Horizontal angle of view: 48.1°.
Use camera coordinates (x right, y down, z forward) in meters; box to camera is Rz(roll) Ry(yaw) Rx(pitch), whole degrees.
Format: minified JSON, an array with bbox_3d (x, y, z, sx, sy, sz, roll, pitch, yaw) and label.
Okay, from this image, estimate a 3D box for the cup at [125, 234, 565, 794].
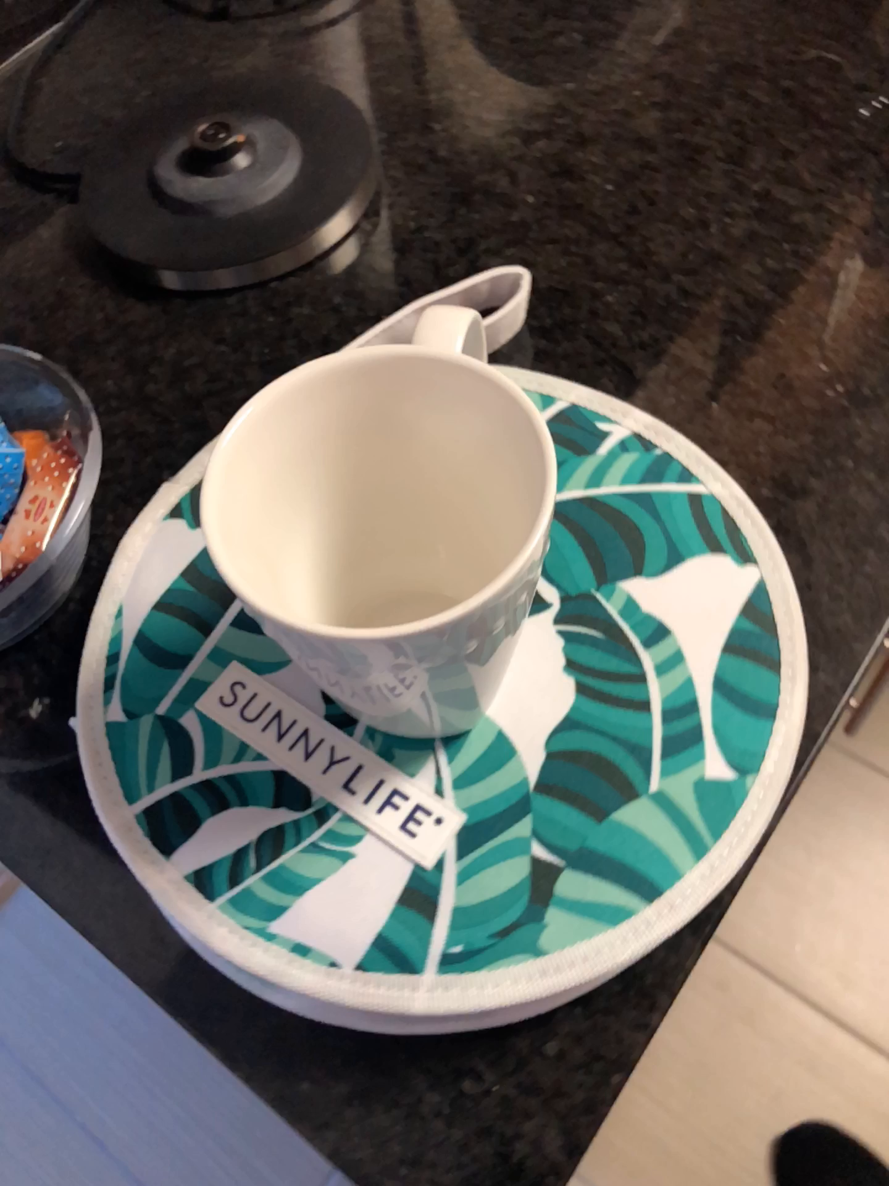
[{"bbox_3d":[-0.015,-0.023,0.288,0.090,0.090,0.130,3,60,9],"label":"cup"}]
